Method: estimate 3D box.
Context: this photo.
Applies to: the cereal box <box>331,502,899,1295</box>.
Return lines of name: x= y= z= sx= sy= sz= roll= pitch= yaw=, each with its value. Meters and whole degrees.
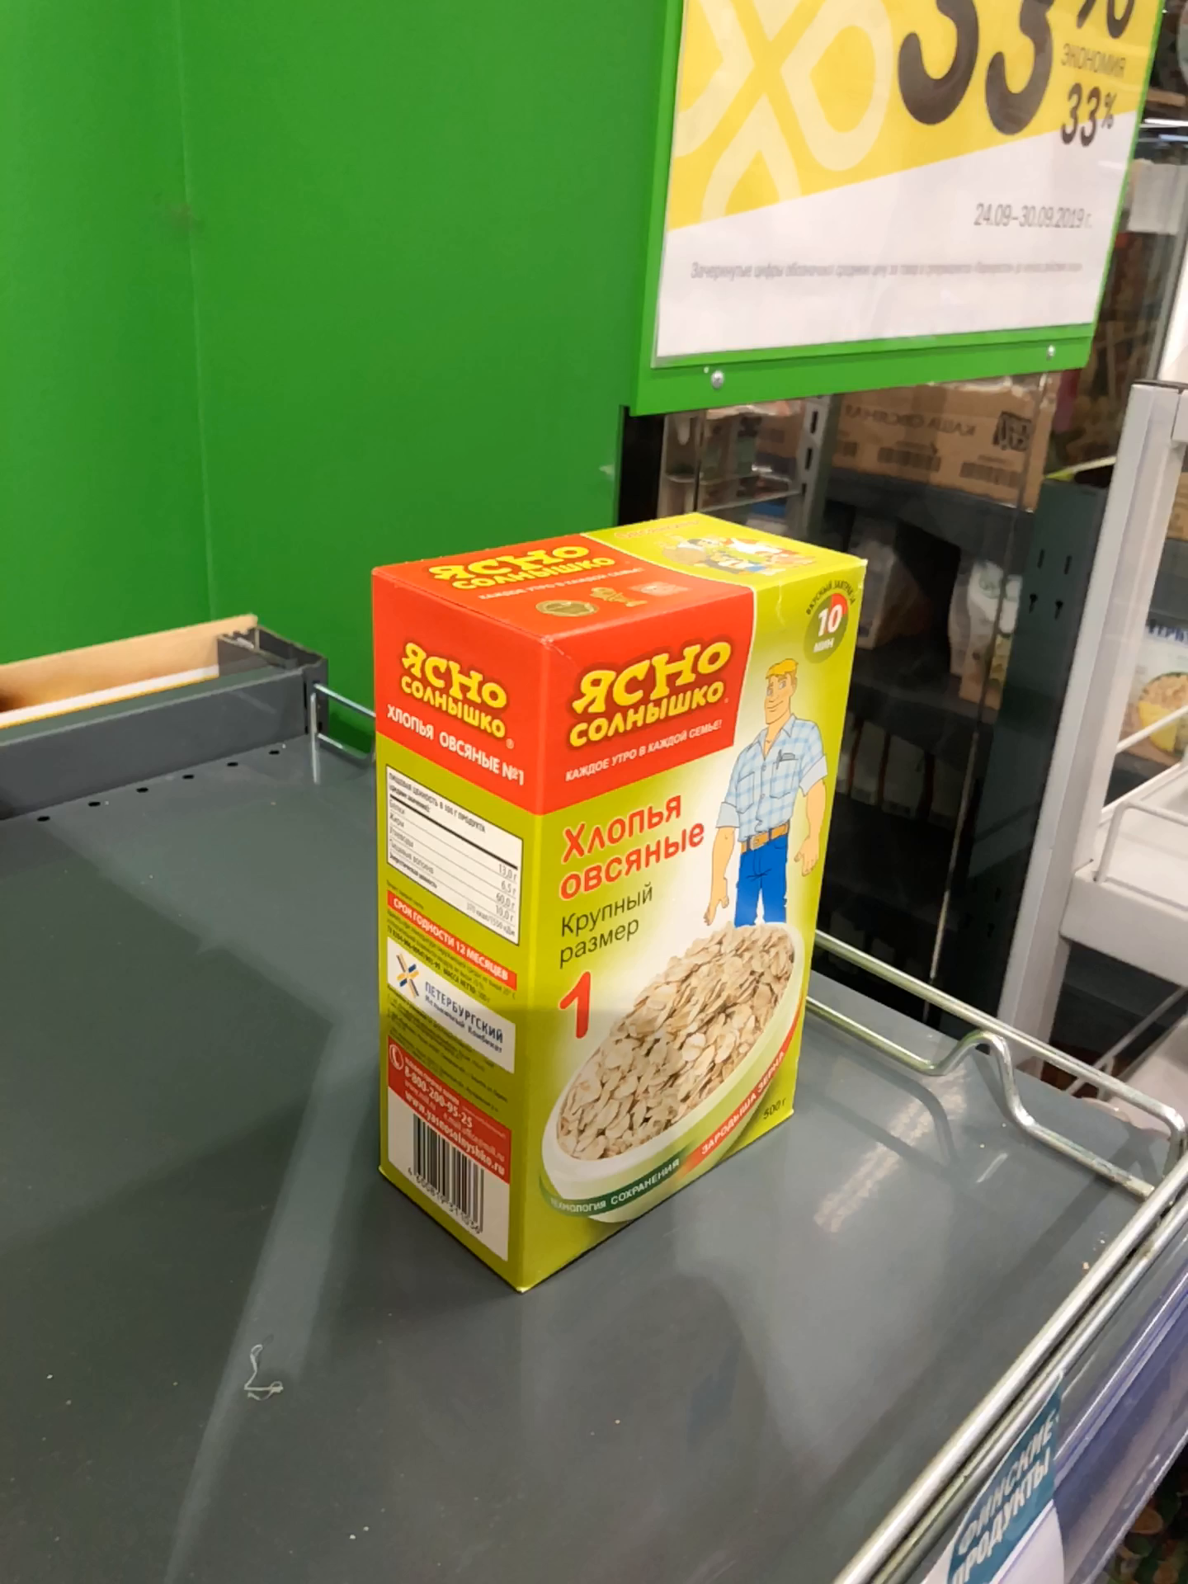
cereal box: x=0.004 y=0.021 z=0.377 sx=0.130 sy=0.179 sz=0.080 roll=-19 pitch=32 yaw=-41
